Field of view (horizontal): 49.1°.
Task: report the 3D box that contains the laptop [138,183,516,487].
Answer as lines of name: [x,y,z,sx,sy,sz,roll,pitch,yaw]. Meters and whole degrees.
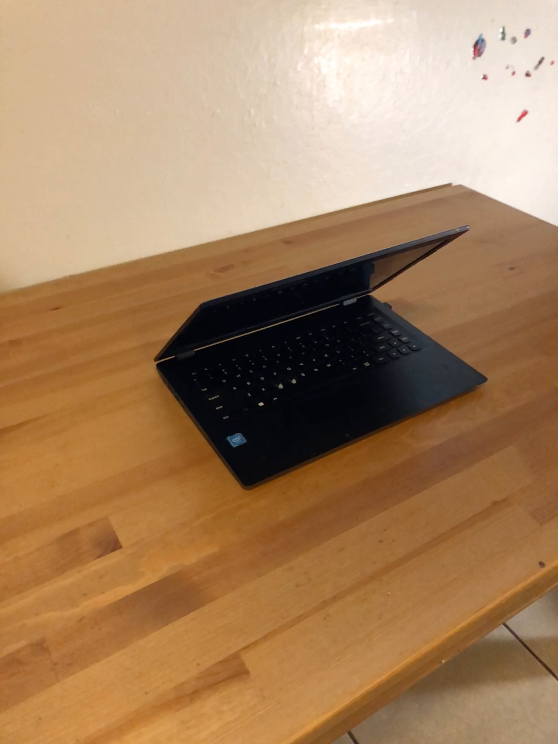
laptop: [0.046,-0.063,0.664,0.317,0.161,0.216,-20,42,-25]
